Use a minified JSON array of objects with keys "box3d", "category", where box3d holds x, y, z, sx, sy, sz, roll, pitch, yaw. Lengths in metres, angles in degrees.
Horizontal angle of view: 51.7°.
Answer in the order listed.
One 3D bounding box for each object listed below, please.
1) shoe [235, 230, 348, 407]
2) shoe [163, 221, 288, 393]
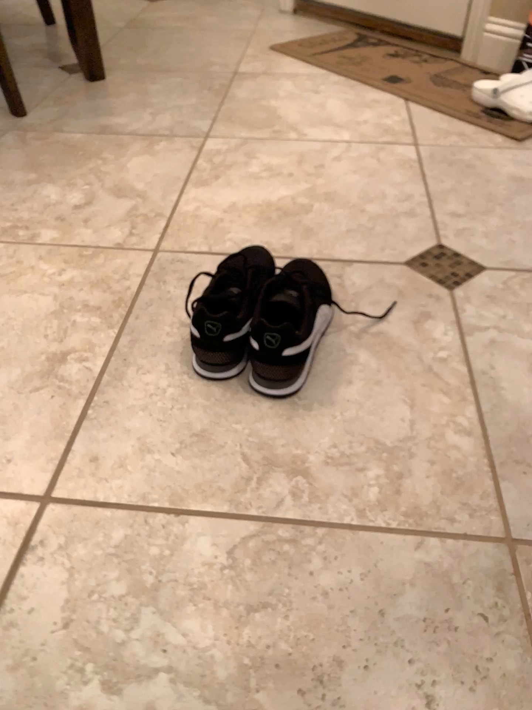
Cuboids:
[{"box3d":[0.044,-0.064,0.797,0.108,0.095,0.270,9,44,9],"category":"shoe"},{"box3d":[-0.049,-0.082,0.815,0.108,0.095,0.270,10,44,8],"category":"shoe"}]
